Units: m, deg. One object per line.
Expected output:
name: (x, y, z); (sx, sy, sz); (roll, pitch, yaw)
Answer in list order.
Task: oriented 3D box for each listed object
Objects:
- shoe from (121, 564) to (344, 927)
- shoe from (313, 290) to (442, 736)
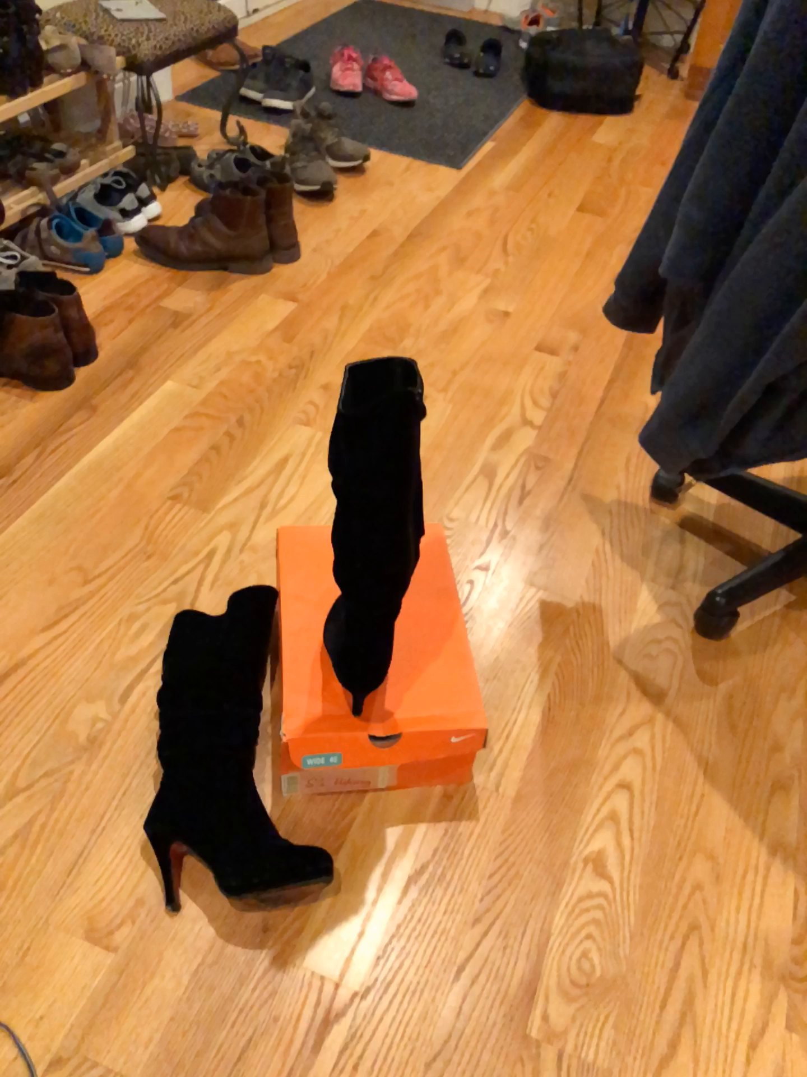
shoe: (-0.188, 0.208, 1.005); (0.206, 0.089, 0.401); (-3, 44, -8)
shoe: (-0.038, -0.010, 0.881); (0.089, 0.397, 0.217); (2, 44, -6)
